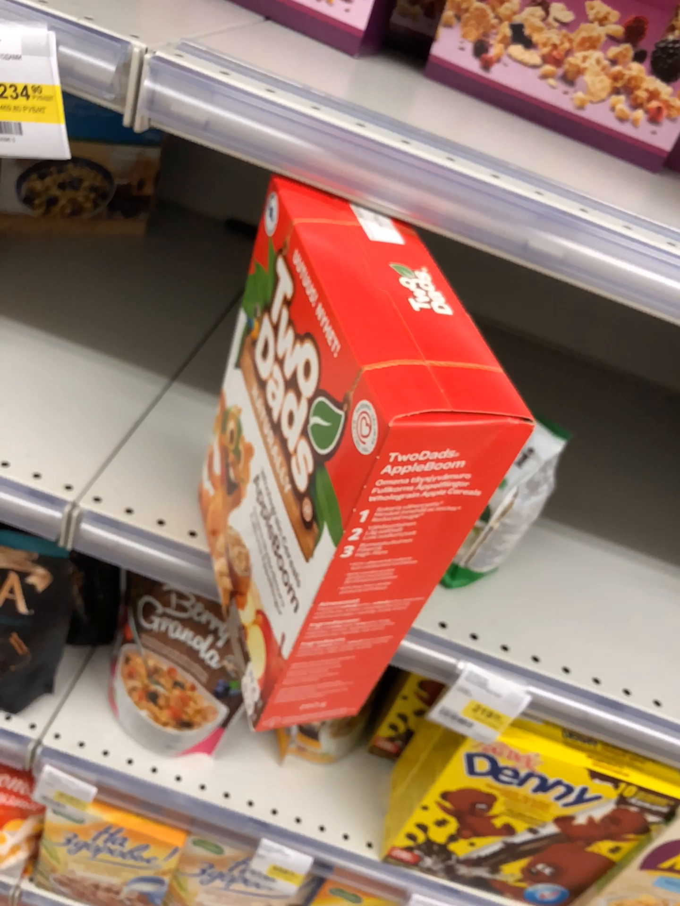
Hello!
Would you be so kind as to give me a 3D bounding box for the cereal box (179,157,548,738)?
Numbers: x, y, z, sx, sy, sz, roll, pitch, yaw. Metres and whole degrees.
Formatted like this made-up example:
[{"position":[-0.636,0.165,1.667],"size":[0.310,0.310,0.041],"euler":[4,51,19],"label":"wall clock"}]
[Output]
[{"position":[-0.019,0.007,0.449],"size":[0.080,0.268,0.201],"euler":[-1,48,-25],"label":"cereal box"}]
